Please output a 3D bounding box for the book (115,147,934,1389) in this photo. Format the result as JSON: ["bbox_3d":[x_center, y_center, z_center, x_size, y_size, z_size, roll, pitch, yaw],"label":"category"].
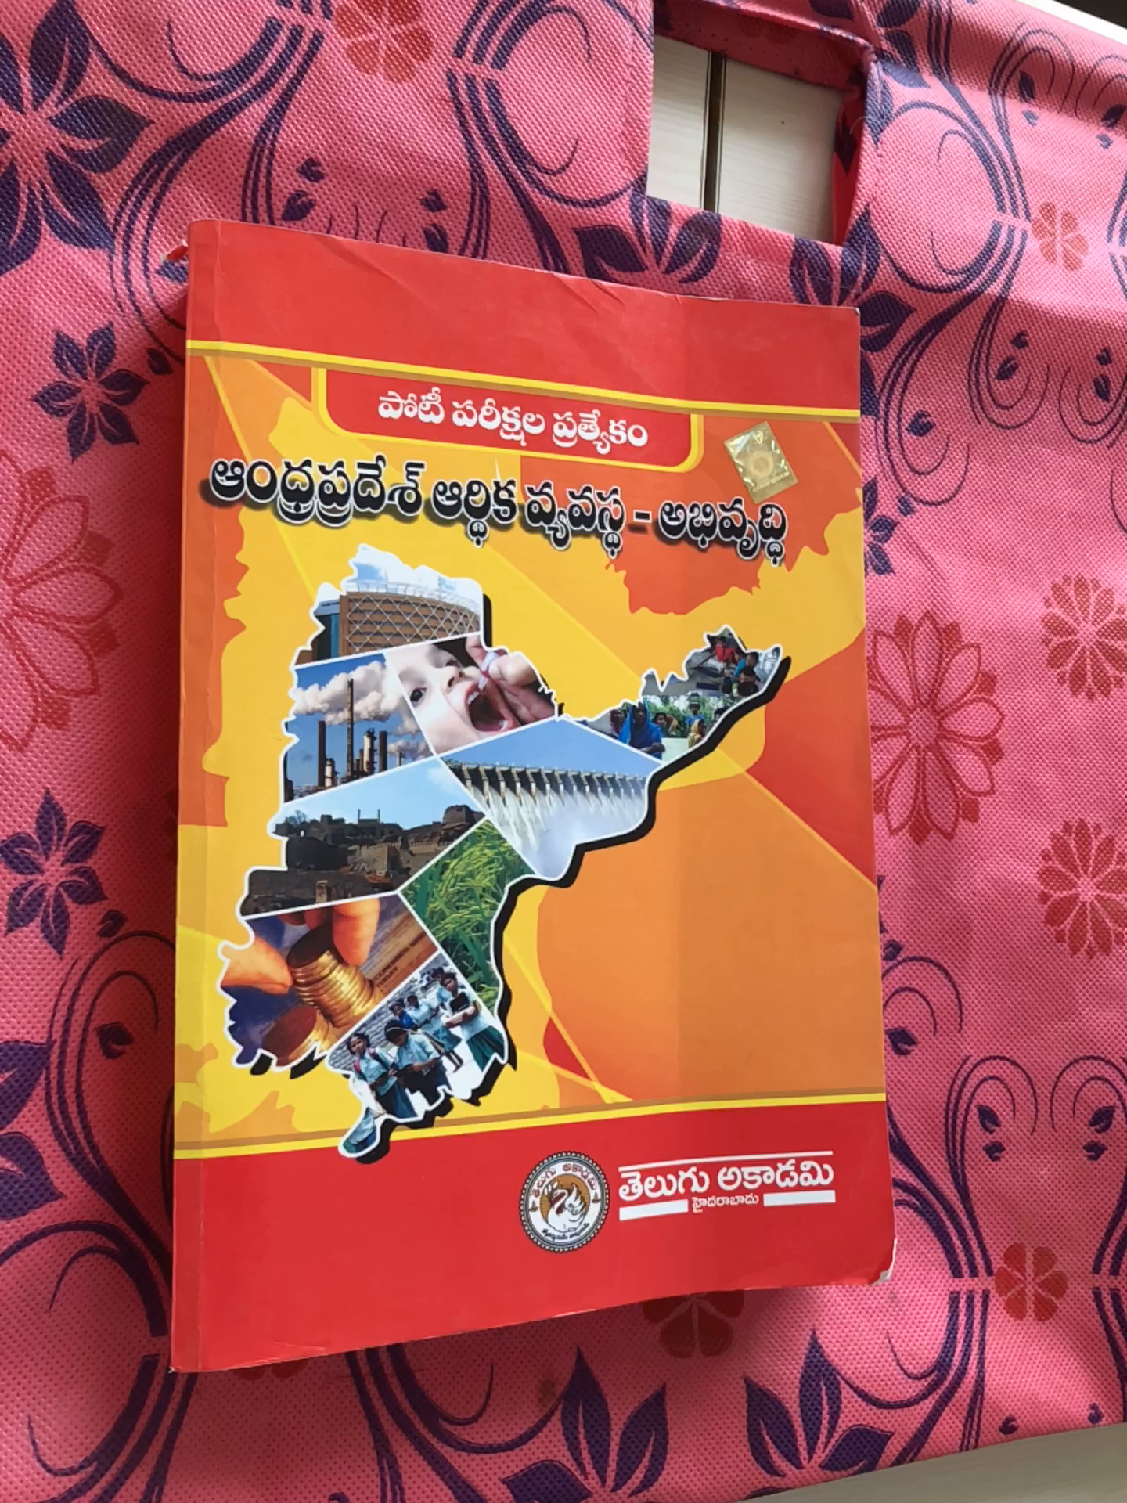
[{"bbox_3d":[-0.006,0.004,0.325,0.200,0.060,0.260,2,87,-21],"label":"book"}]
